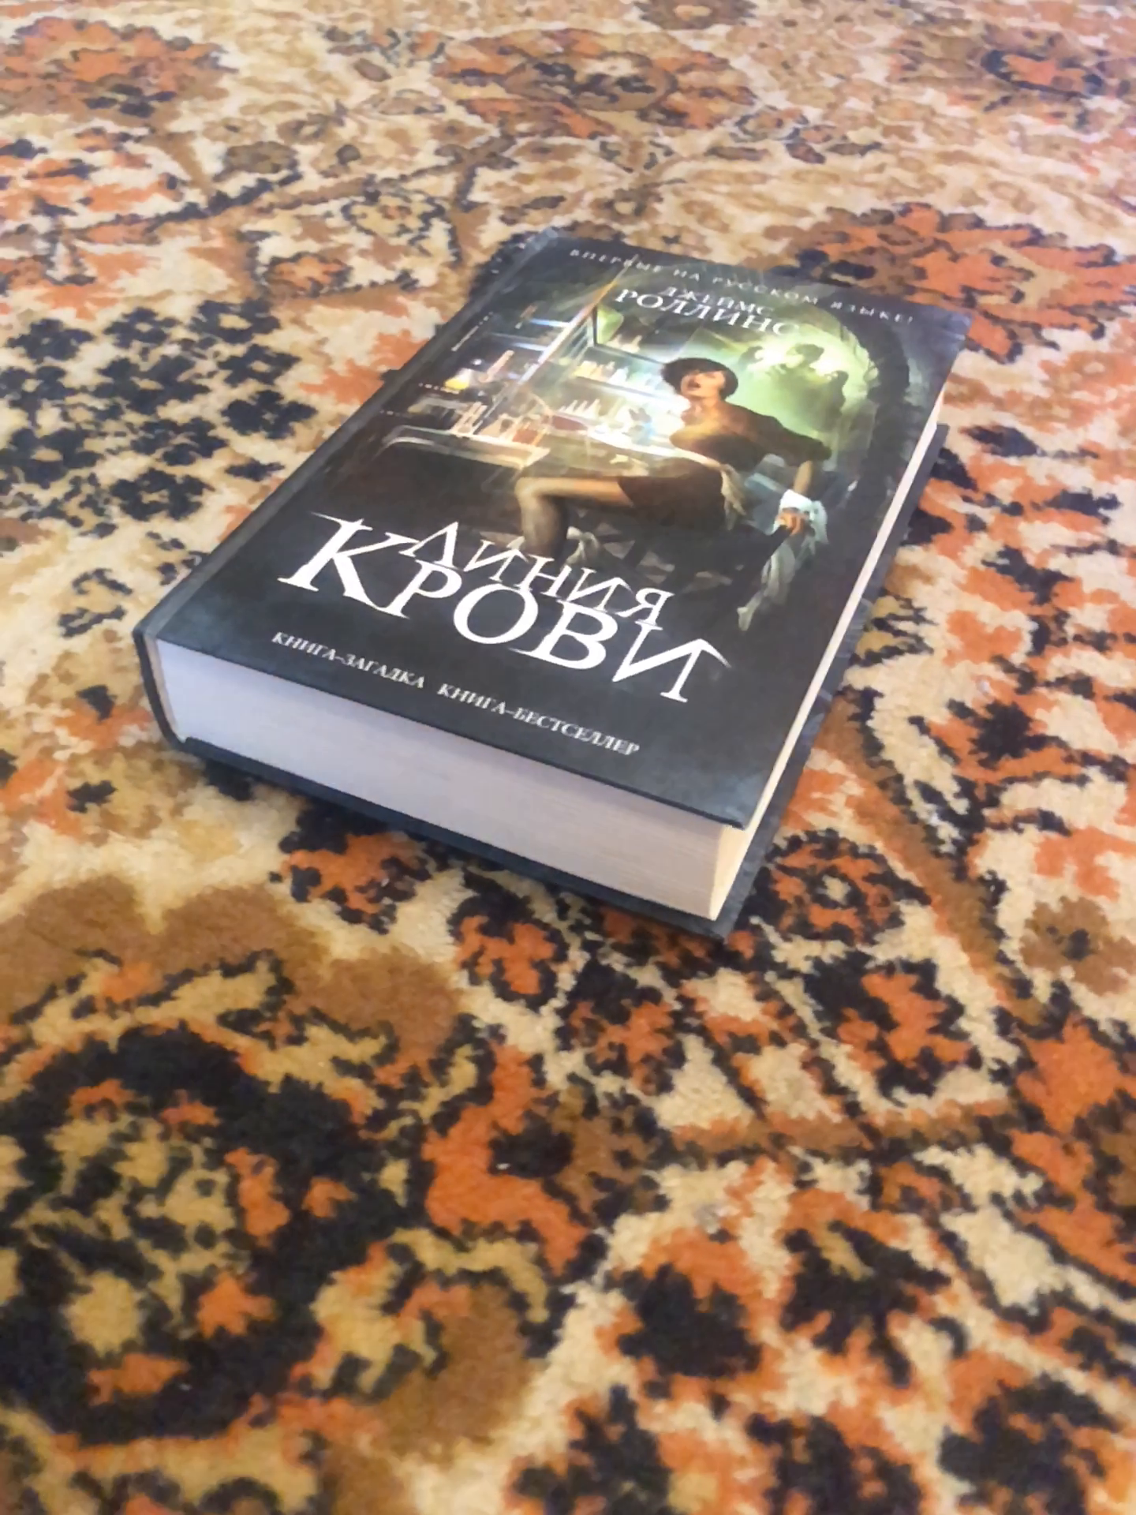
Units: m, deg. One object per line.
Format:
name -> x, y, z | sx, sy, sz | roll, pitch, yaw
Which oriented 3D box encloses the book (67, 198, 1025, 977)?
book -> 0.013, -0.069, 0.328 | 0.159, 0.040, 0.226 | 18, 49, 16
